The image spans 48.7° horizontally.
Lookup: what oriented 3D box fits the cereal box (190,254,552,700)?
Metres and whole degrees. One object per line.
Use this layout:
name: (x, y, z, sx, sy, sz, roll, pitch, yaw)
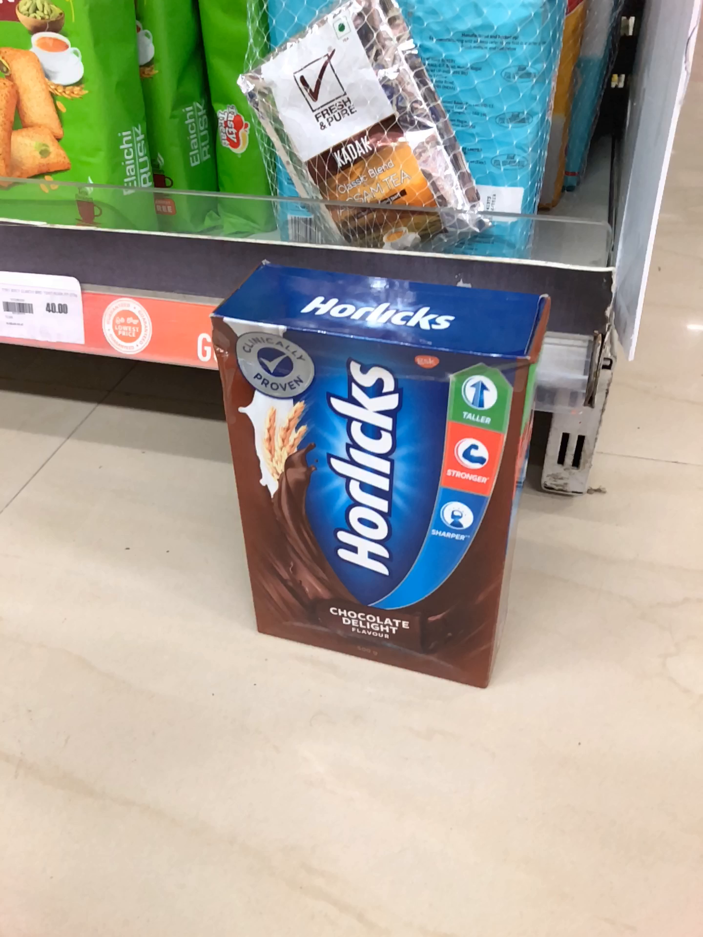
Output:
cereal box: (0.012, 0.011, 0.389, 0.140, 0.209, 0.060, 10, 40, 15)
